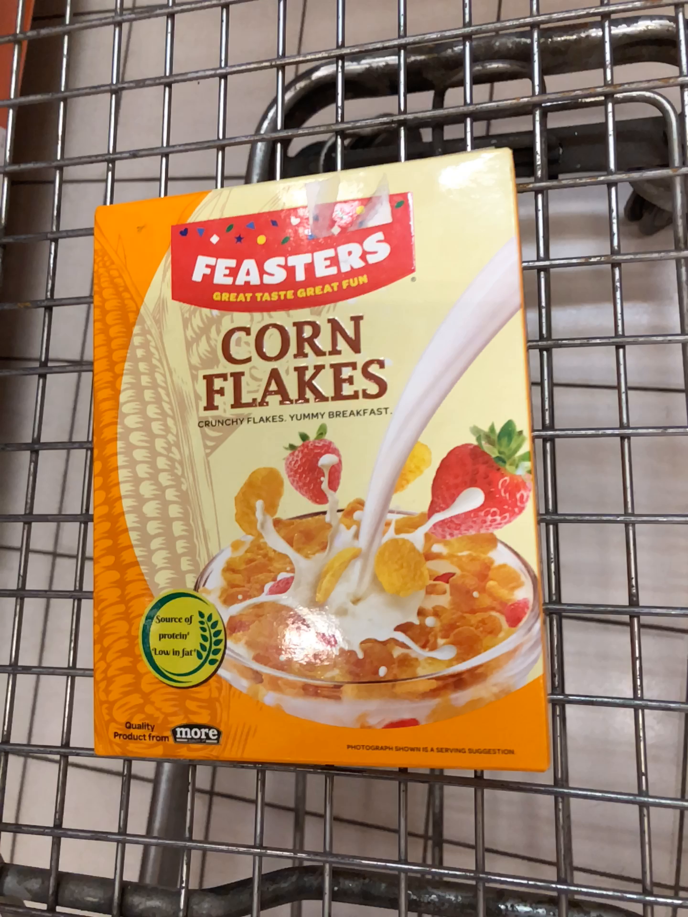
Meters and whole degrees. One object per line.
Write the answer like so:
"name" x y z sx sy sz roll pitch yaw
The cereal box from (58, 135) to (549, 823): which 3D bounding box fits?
"cereal box" -0.012 0.007 0.246 0.140 0.060 0.180 -3 85 14
